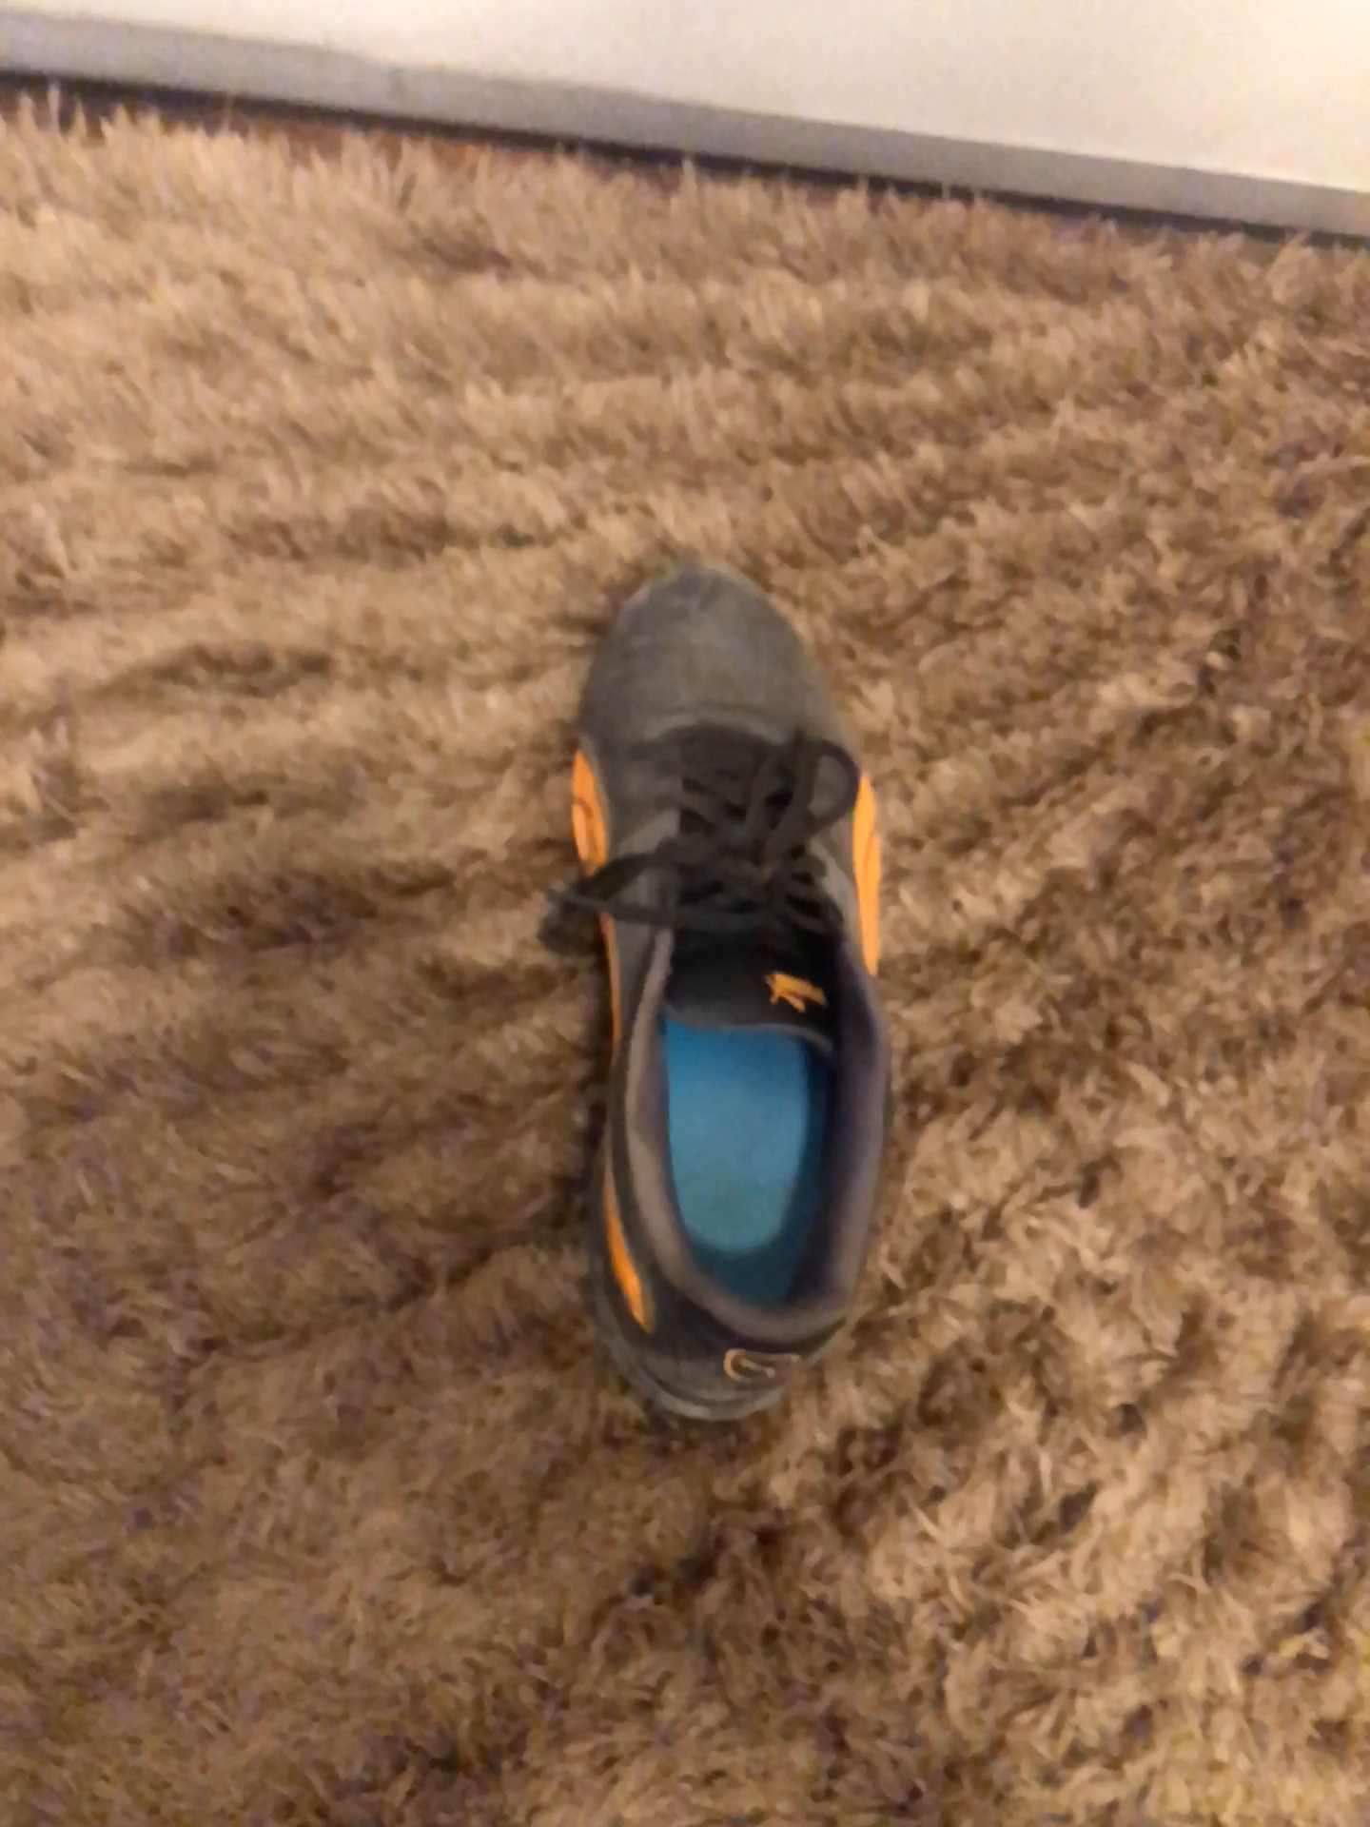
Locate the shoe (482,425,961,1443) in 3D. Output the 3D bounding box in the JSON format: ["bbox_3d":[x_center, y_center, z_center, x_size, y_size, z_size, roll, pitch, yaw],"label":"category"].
[{"bbox_3d":[0.006,0.010,0.504,0.122,0.110,0.300,4,75,-13],"label":"shoe"}]
